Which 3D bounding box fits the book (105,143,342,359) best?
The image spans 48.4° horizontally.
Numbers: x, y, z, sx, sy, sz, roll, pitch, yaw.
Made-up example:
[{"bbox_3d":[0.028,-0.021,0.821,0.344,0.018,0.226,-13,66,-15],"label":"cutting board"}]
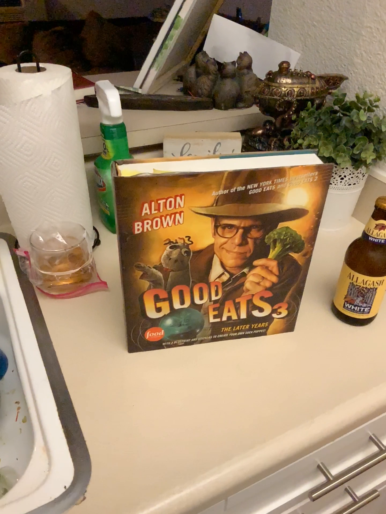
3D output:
[{"bbox_3d":[0.030,0.000,0.514,0.240,0.250,0.050,-6,35,-11],"label":"book"}]
